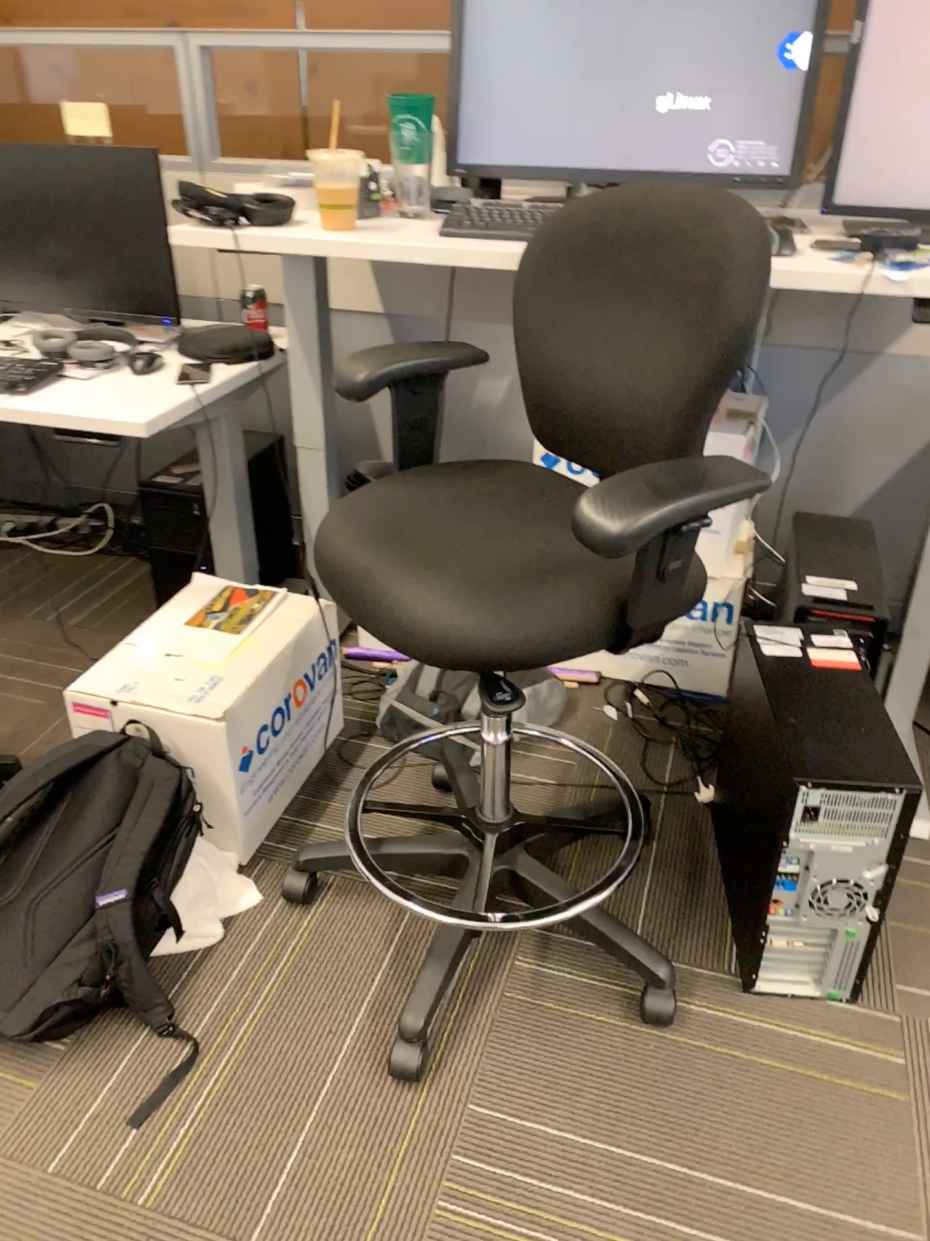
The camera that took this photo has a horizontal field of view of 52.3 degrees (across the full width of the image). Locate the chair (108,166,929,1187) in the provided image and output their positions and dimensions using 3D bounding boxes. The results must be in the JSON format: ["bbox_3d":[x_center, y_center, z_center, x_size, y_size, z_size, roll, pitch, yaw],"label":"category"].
[{"bbox_3d":[0.079,-0.015,1.391,0.771,1.104,0.713,-20,36,-32],"label":"chair"}]
